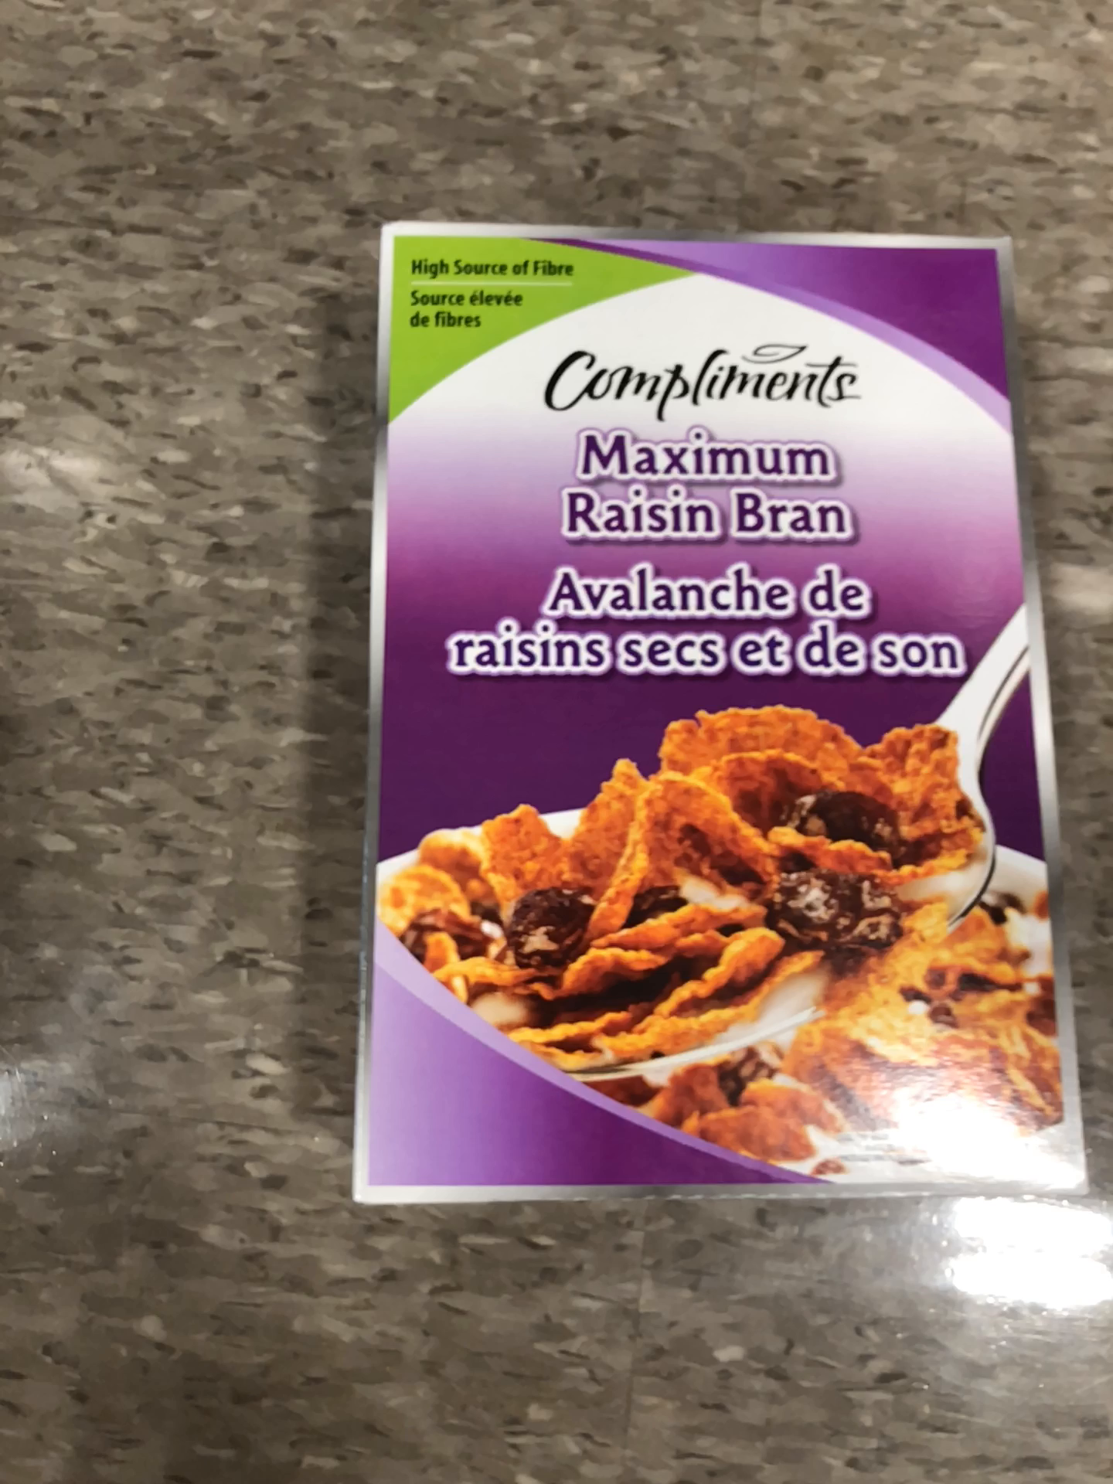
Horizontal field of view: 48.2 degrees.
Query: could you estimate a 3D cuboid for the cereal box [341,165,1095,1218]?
[{"bbox_3d":[0.047,-0.020,0.397,0.200,0.070,0.310,2,77,-1],"label":"cereal box"}]
